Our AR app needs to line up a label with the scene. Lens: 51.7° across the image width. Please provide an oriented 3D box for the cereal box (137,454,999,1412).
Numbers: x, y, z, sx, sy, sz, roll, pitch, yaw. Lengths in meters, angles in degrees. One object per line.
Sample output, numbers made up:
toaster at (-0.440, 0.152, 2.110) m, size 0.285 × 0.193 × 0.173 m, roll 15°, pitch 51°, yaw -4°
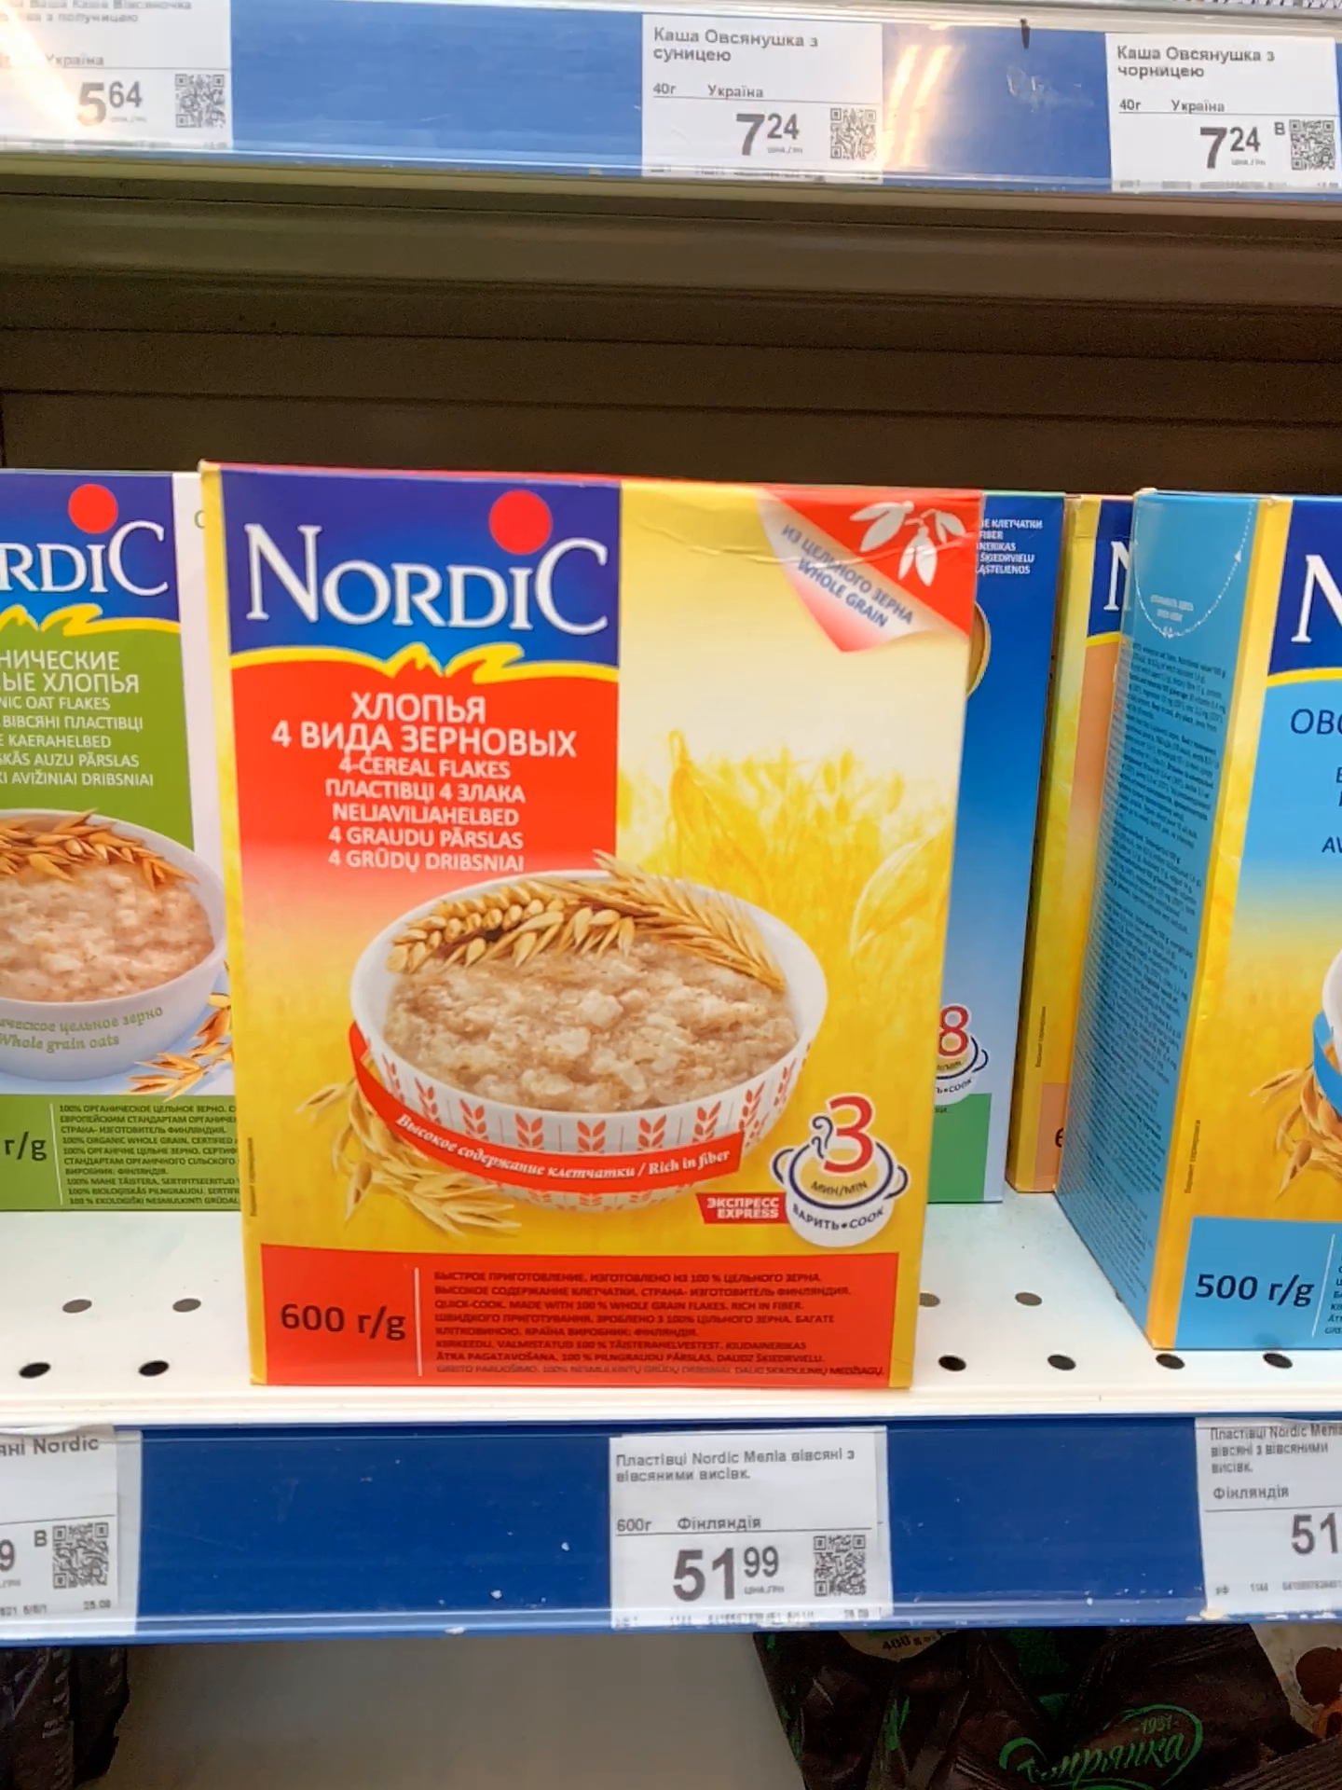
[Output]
cereal box at (-0.020, 0.005, 0.304) m, size 0.150 × 0.189 × 0.080 m, roll 1°, pitch 15°, yaw -1°
